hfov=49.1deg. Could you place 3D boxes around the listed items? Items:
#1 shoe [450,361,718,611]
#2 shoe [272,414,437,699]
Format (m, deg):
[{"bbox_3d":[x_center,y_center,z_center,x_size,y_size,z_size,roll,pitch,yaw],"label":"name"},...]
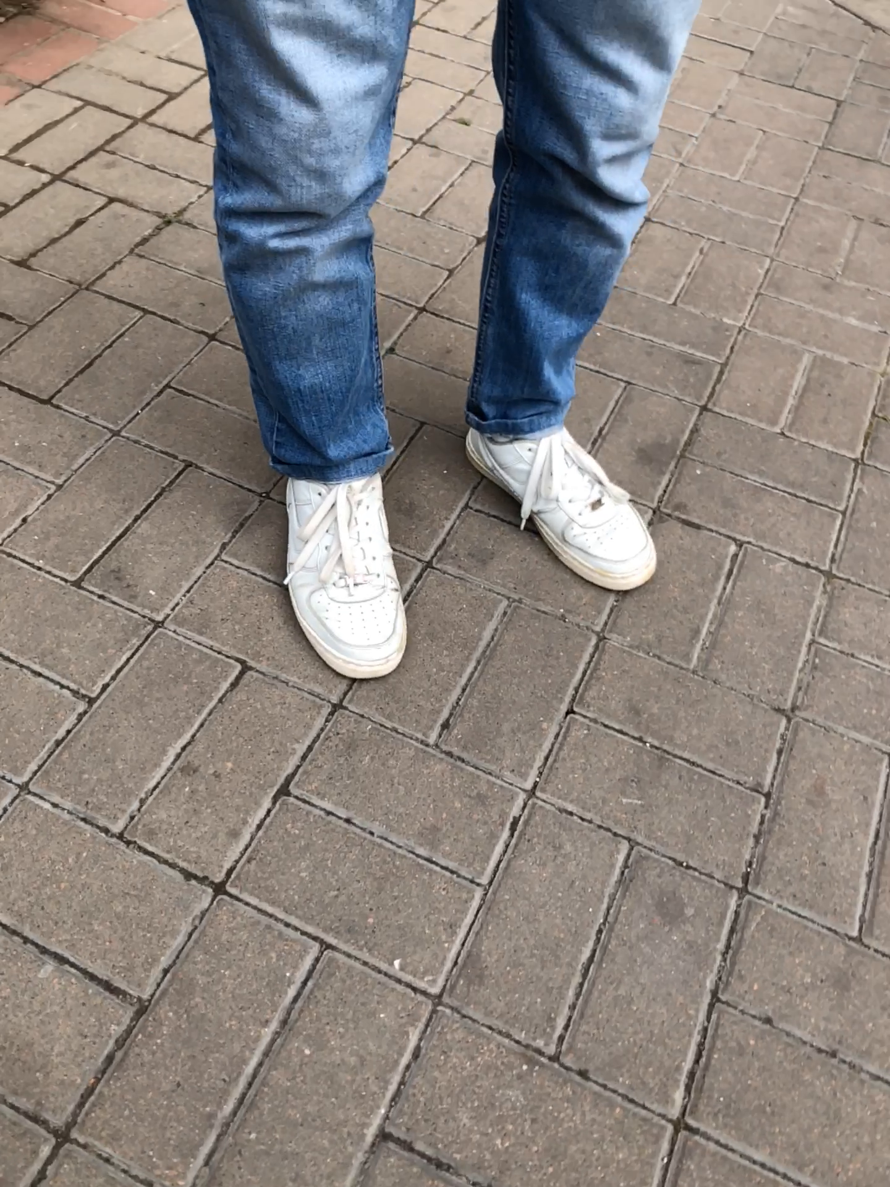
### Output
[{"bbox_3d":[0.142,-0.126,1.068,0.110,0.070,0.301,-30,60,-24],"label":"shoe"},{"bbox_3d":[-0.098,-0.048,0.987,0.120,0.070,0.302,-7,53,-9],"label":"shoe"}]
